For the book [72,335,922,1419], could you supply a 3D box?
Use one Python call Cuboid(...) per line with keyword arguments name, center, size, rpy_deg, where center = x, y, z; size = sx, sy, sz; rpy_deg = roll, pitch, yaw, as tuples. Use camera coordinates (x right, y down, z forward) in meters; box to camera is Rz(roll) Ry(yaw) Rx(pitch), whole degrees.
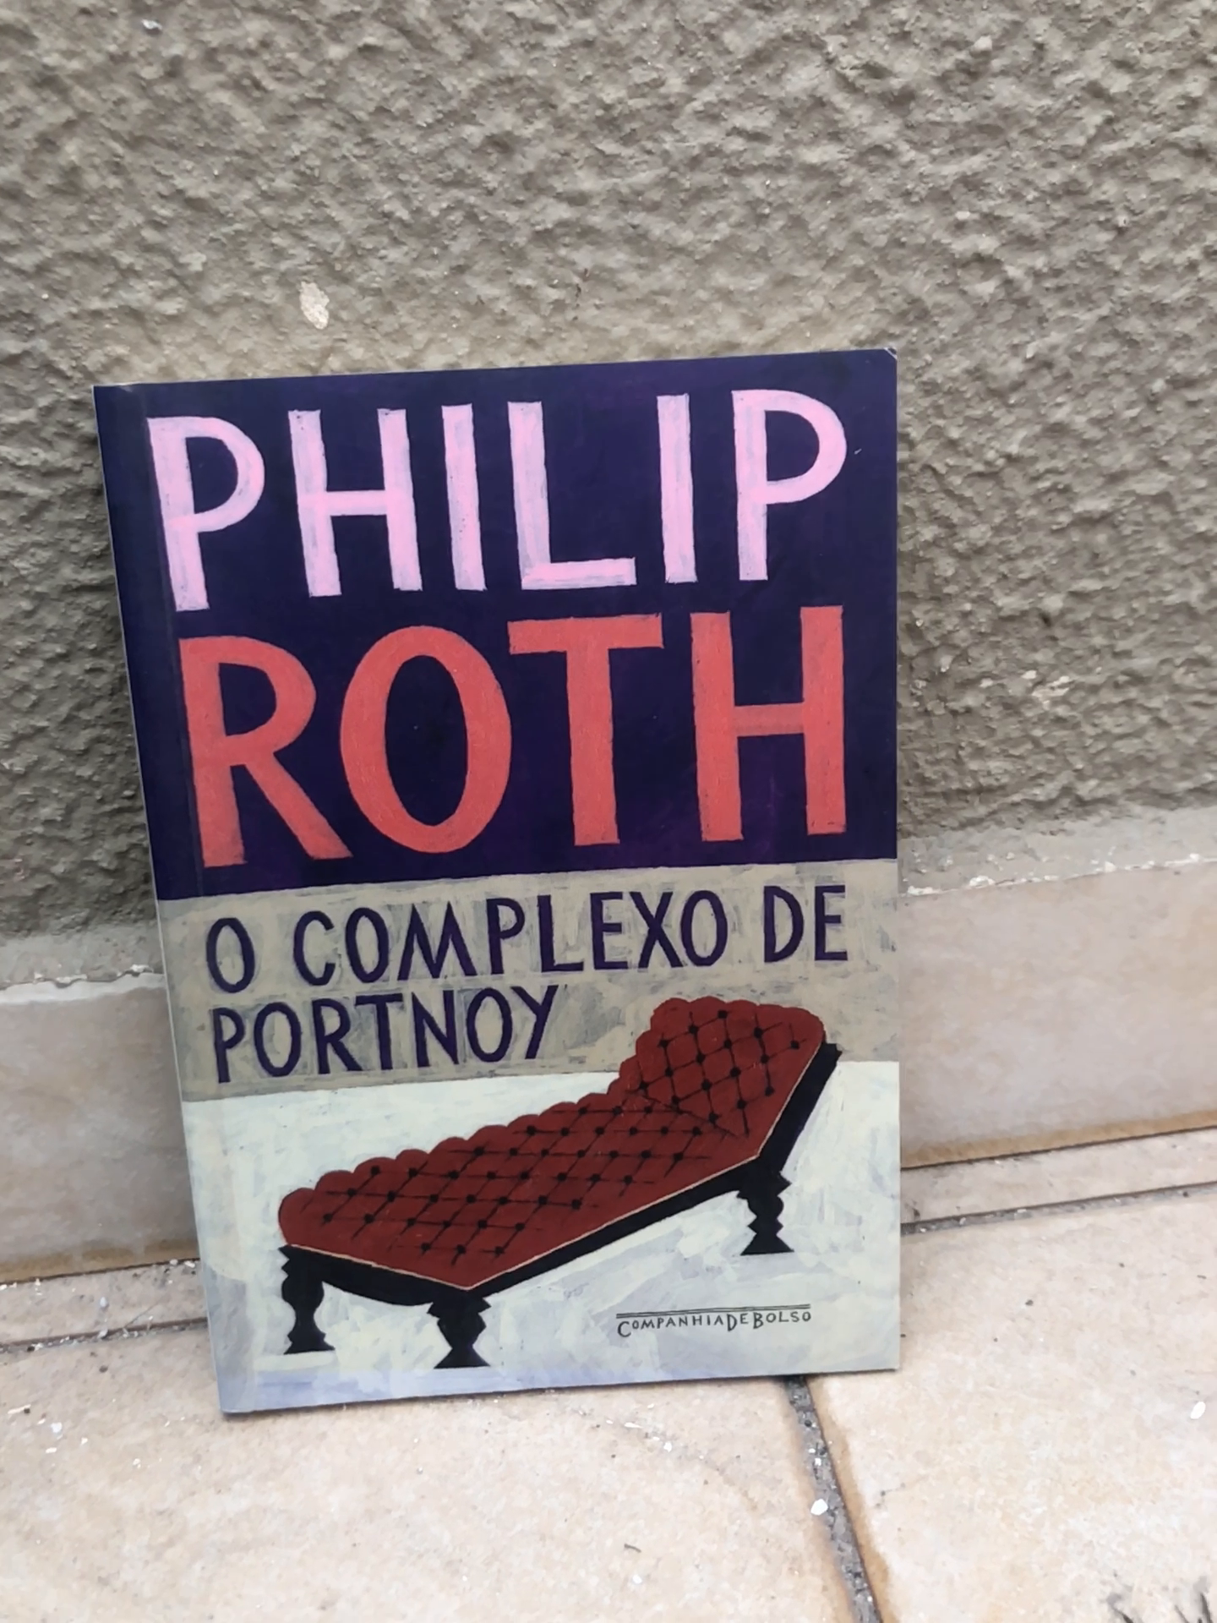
Cuboid(name="book", center=(-0.012, 0.016, 0.235), size=(0.126, 0.179, 0.023), rpy_deg=(-4, 15, -1))
